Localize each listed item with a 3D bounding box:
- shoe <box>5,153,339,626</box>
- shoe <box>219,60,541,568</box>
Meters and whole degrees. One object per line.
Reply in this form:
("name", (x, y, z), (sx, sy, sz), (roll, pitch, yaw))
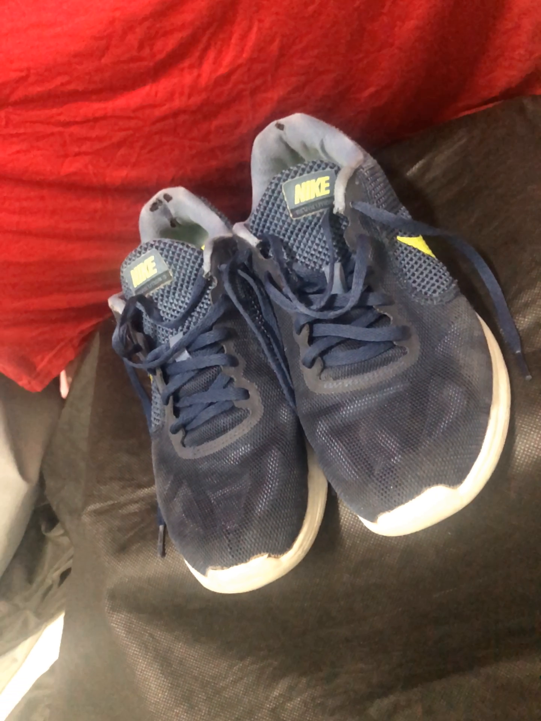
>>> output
("shoe", (-0.051, 0.007, 0.343), (0.110, 0.099, 0.232), (-24, 47, 19))
("shoe", (0.047, -0.041, 0.331), (0.110, 0.089, 0.262), (-24, 47, 19))
